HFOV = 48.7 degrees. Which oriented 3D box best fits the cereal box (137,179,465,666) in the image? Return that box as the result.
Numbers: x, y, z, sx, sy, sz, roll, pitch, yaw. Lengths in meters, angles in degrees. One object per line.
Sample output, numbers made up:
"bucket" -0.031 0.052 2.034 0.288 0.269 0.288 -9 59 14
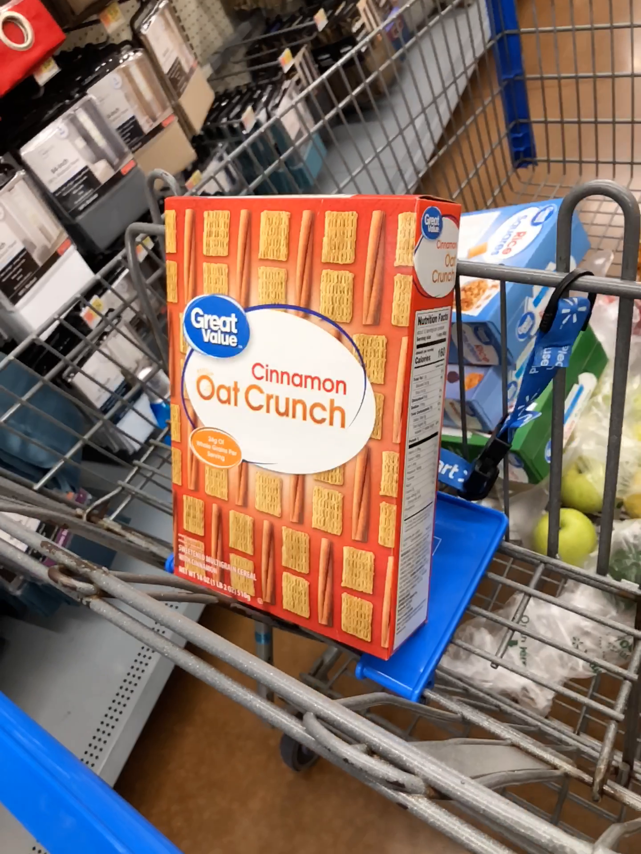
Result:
"cereal box" -0.023 -0.015 0.475 0.201 0.280 0.070 12 18 33
